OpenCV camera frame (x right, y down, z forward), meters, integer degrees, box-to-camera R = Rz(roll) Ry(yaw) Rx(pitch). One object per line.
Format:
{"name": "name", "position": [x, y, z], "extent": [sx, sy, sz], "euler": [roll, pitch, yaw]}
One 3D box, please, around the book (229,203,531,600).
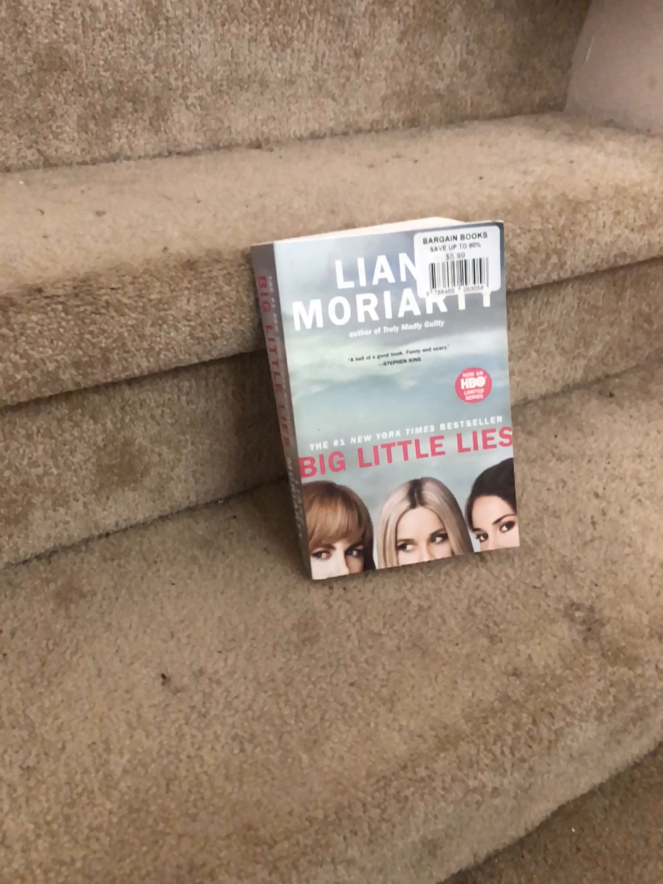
{"name": "book", "position": [0.034, -0.028, 0.442], "extent": [0.160, 0.209, 0.050], "euler": [-10, 14, -16]}
